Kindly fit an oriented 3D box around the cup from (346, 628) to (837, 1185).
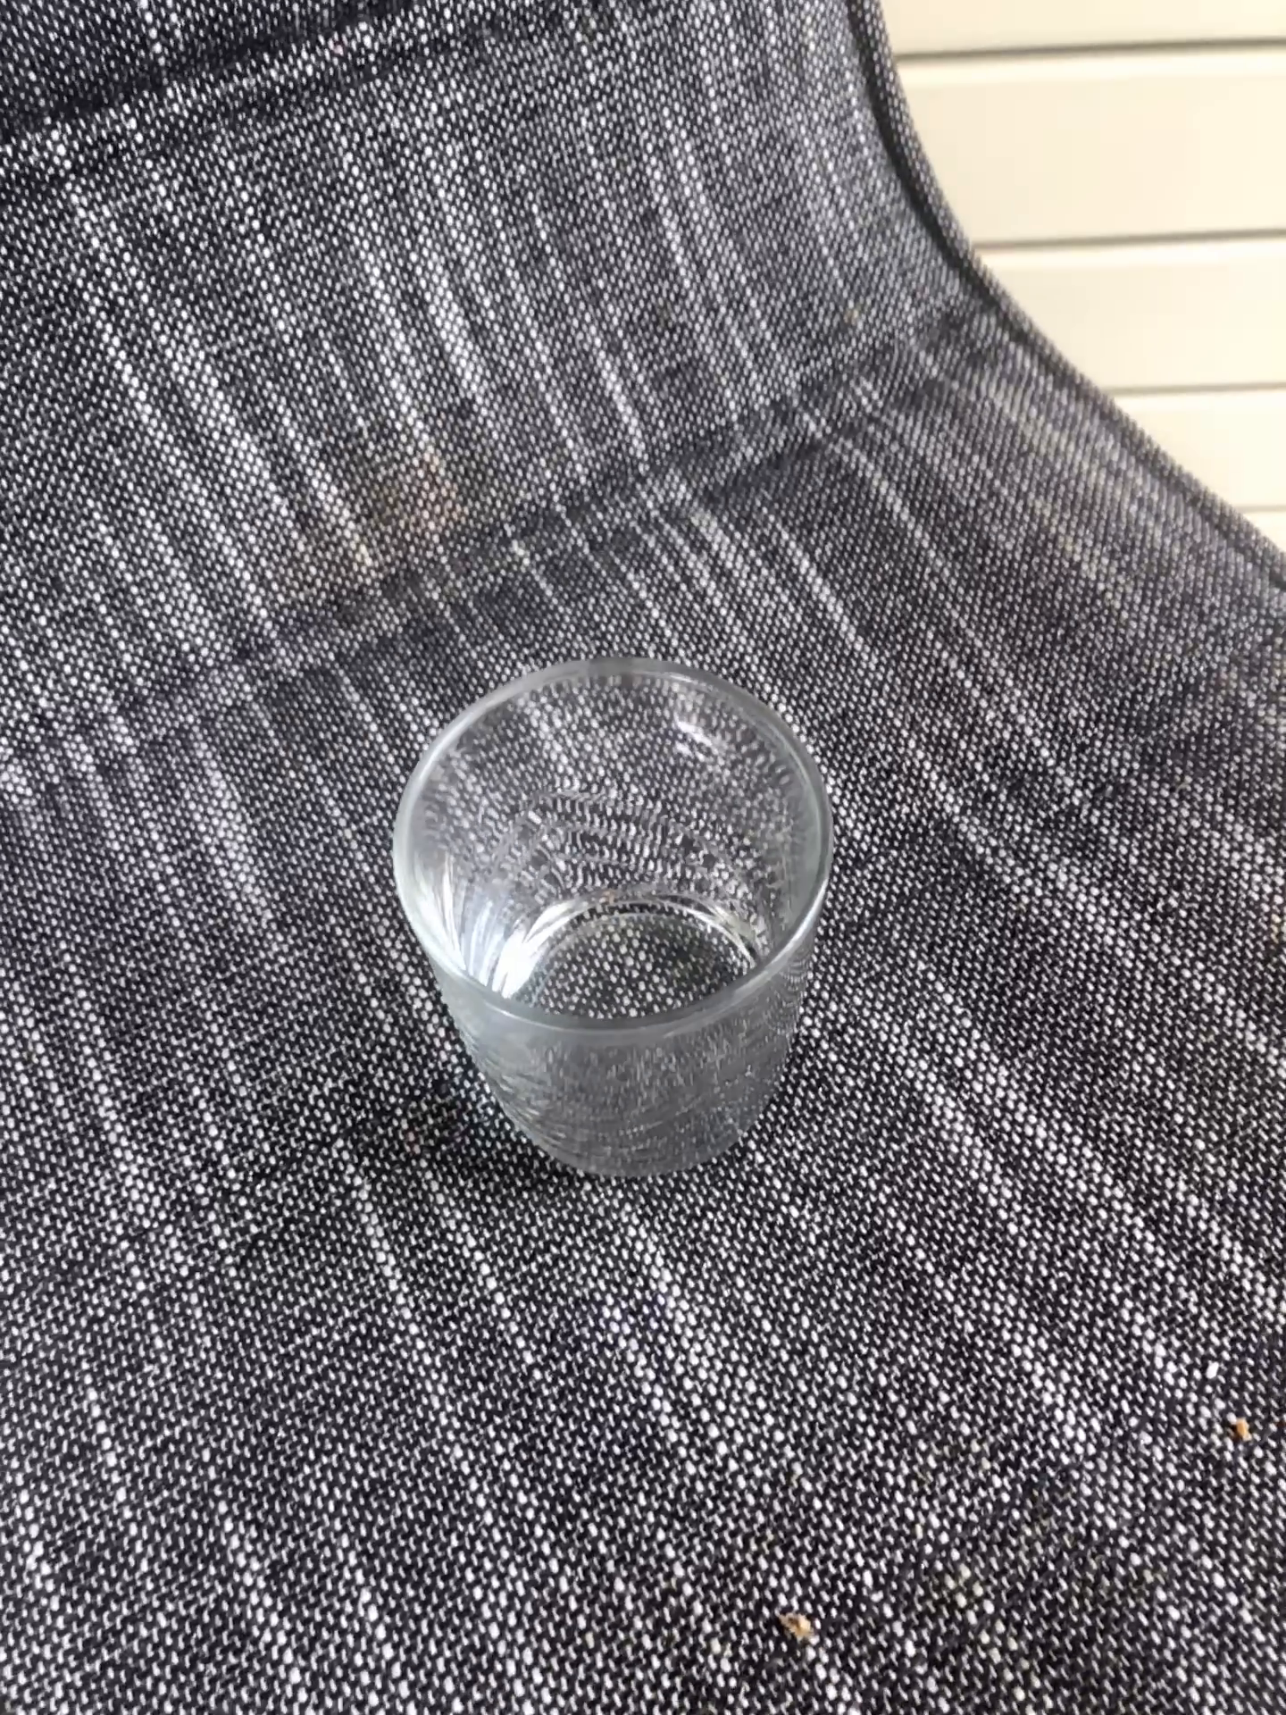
[{"bbox_3d":[-0.005,0.012,0.255,0.070,0.080,0.070,-1,61,2],"label":"cup"}]
